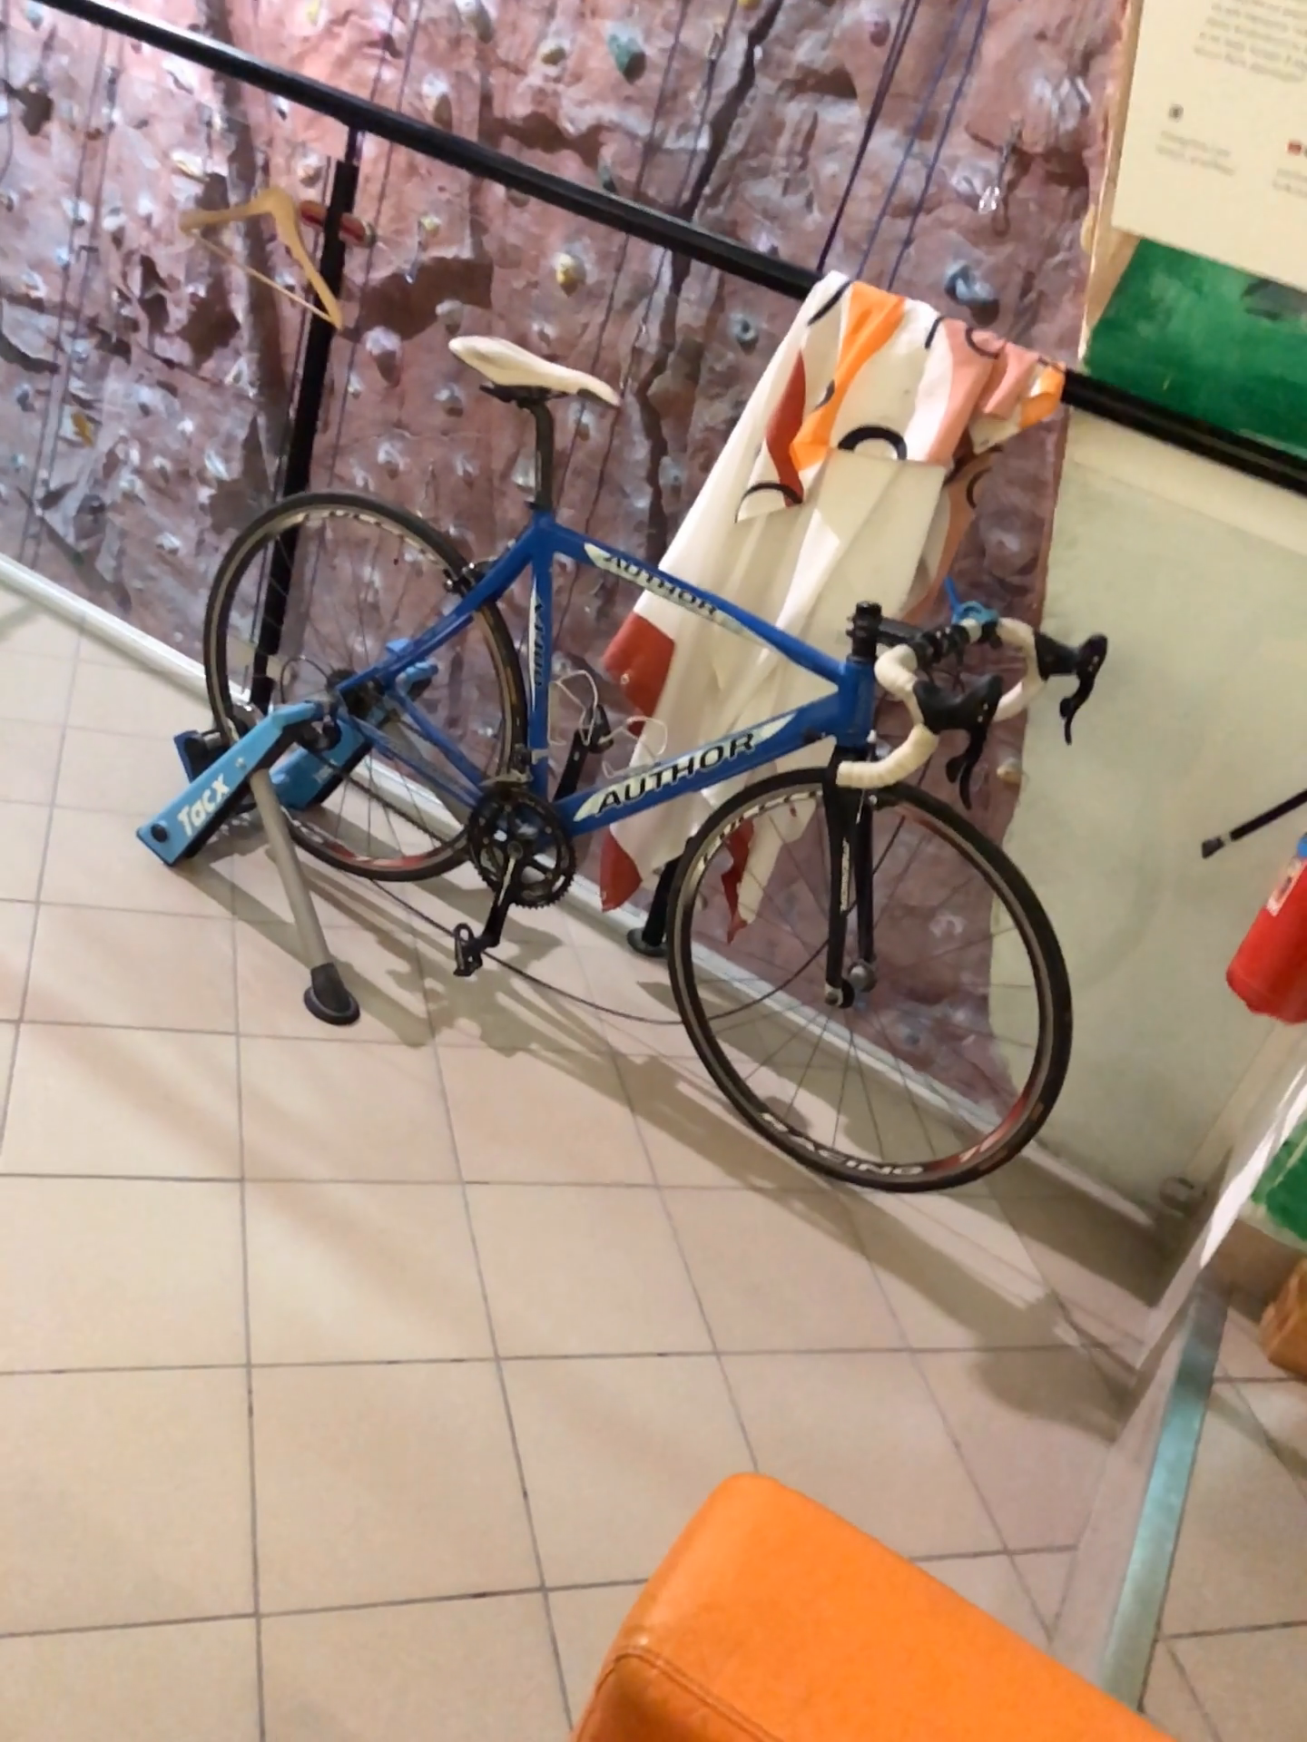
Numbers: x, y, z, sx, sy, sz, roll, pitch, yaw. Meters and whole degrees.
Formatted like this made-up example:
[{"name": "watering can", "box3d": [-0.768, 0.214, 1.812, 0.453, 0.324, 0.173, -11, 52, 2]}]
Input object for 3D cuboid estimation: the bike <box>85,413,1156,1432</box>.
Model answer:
[{"name": "bike", "box3d": [-0.121, -0.017, 2.180, 1.554, 0.682, 0.468, 33, 30, 17]}]
